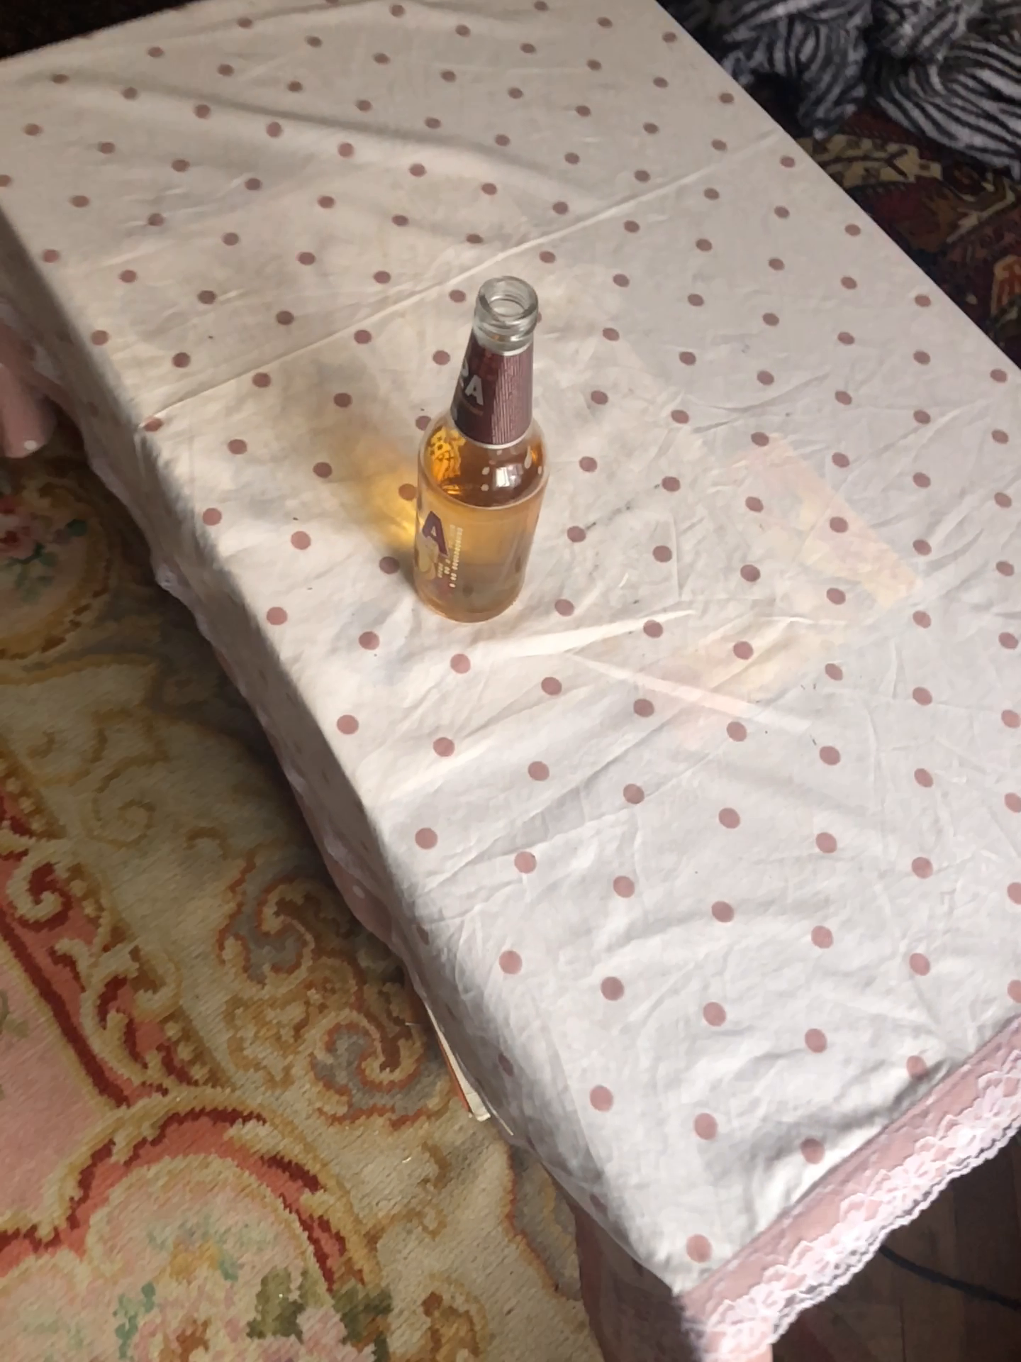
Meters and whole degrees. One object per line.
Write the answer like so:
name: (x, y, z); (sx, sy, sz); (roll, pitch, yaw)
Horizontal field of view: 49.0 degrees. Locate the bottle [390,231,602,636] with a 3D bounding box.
bottle: (-0.015, -0.110, 0.563); (0.080, 0.209, 0.080); (3, 64, -6)
